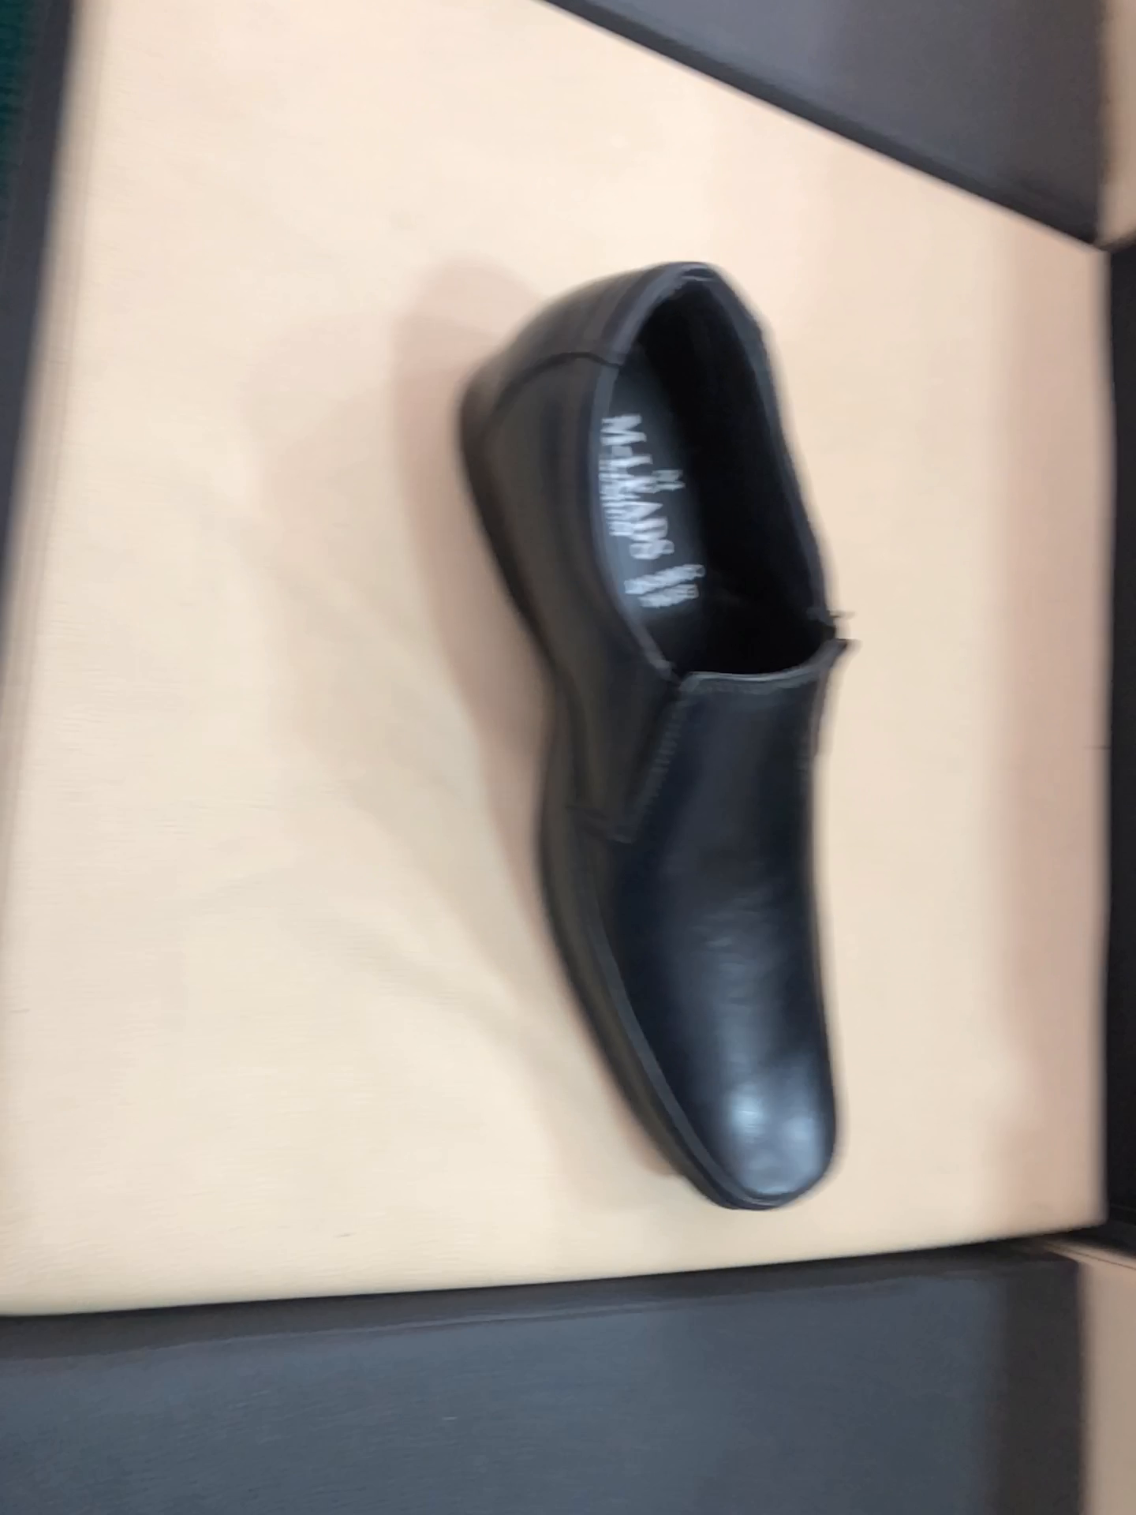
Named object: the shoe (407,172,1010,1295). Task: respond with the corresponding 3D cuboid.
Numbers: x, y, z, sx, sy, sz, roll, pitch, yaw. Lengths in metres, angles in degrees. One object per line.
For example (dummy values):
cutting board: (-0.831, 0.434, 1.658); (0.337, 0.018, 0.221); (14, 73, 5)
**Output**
shoe: (0.042, -0.011, 0.389); (0.101, 0.080, 0.300); (-12, 91, -29)
